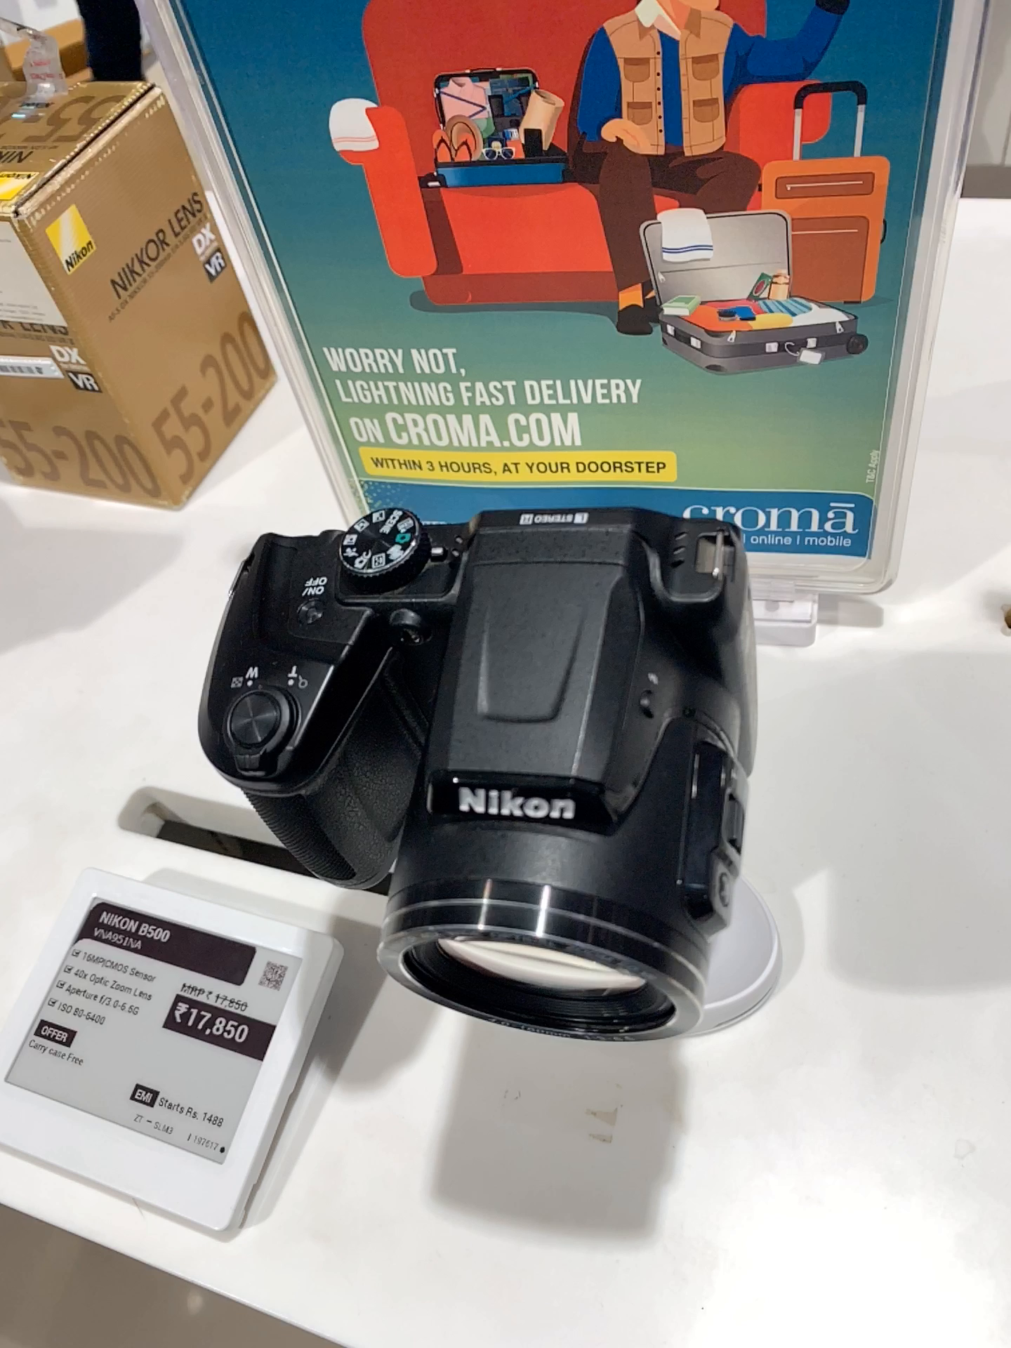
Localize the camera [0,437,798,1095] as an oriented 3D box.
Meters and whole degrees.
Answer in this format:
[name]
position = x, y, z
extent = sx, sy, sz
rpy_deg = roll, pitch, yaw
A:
[camera]
position = -0.007, 0.016, 0.203
extent = 0.120, 0.080, 0.090
rpy_deg = 2, 53, 14
